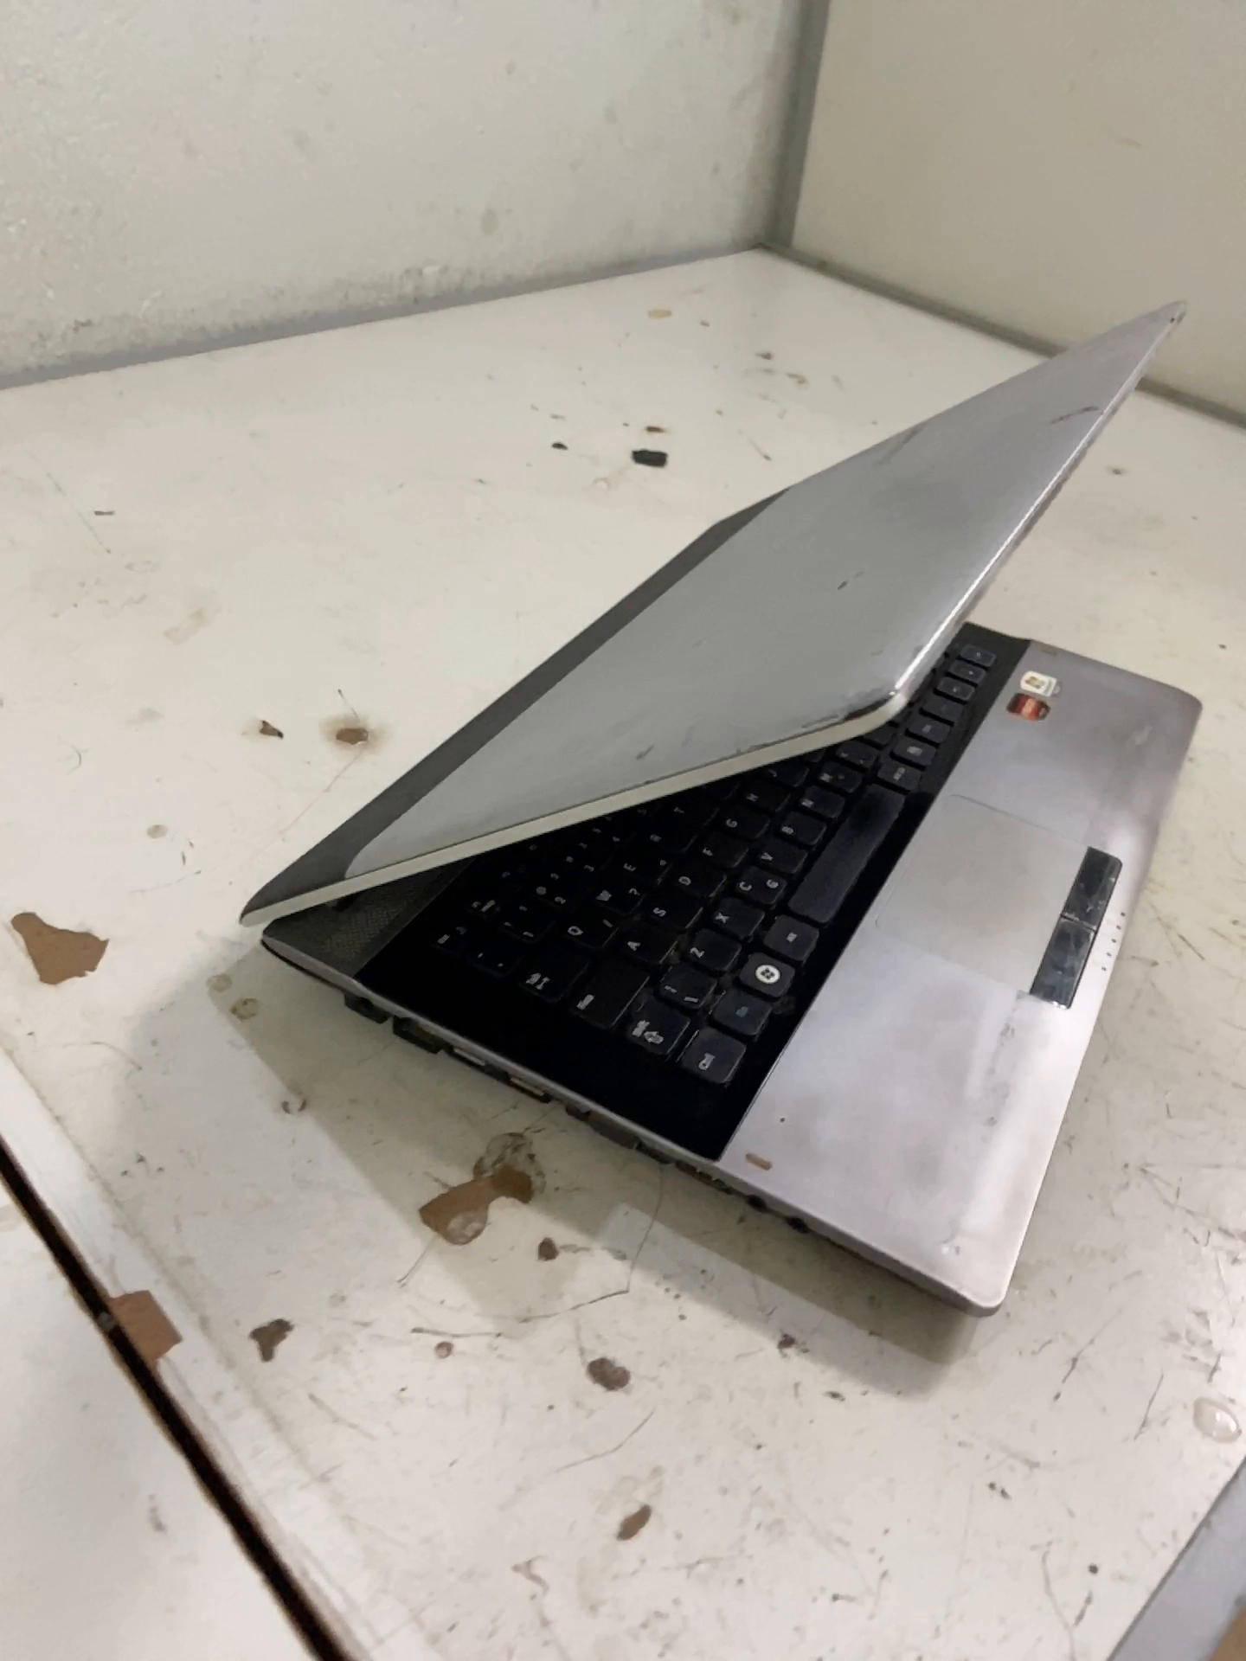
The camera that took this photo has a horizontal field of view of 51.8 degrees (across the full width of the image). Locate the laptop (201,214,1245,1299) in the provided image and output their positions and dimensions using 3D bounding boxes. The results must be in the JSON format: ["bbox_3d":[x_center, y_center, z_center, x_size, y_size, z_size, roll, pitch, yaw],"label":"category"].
[{"bbox_3d":[0.077,-0.074,0.435,0.233,0.150,0.346,22,40,19],"label":"laptop"}]
